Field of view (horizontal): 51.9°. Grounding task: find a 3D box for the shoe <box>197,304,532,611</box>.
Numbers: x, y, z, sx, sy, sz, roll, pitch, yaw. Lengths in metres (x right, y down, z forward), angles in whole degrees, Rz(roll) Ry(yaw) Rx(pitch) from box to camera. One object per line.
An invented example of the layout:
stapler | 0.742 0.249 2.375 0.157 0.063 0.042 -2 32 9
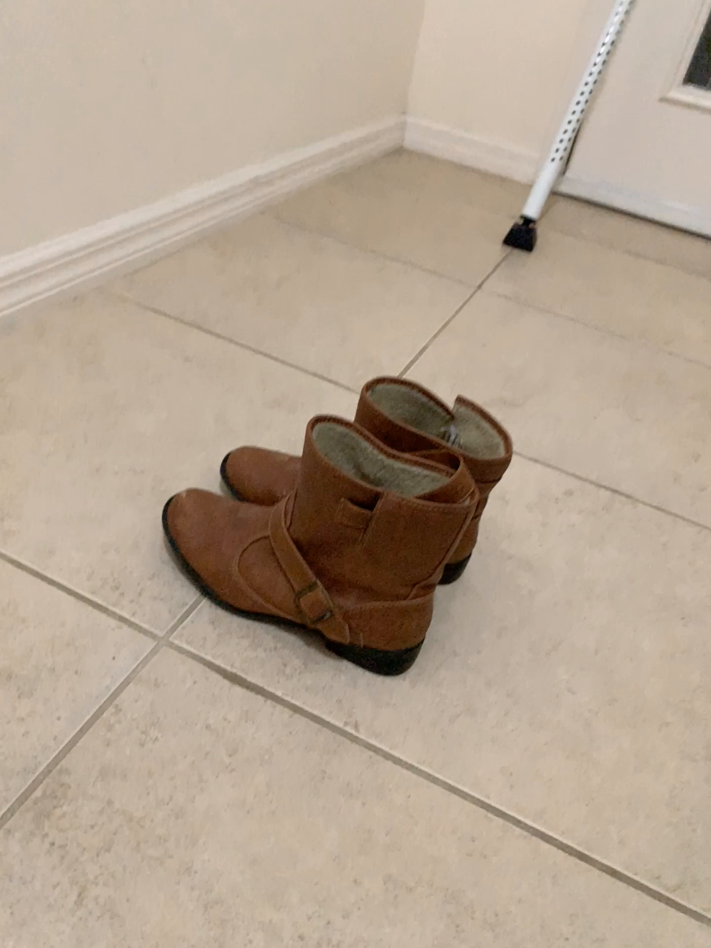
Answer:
shoe | 0.000 -0.018 0.669 0.260 0.172 0.108 21 38 11

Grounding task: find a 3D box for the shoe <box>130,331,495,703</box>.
shoe | -0.045 0.032 0.576 0.246 0.192 0.095 23 38 14
